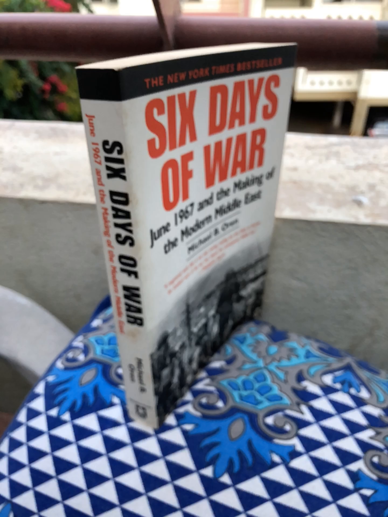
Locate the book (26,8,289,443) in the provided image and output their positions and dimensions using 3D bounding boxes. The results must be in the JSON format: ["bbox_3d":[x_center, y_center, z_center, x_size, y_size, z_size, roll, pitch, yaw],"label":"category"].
[{"bbox_3d":[0.002,-0.025,0.315,0.050,0.249,0.181,17,40,27],"label":"book"}]
